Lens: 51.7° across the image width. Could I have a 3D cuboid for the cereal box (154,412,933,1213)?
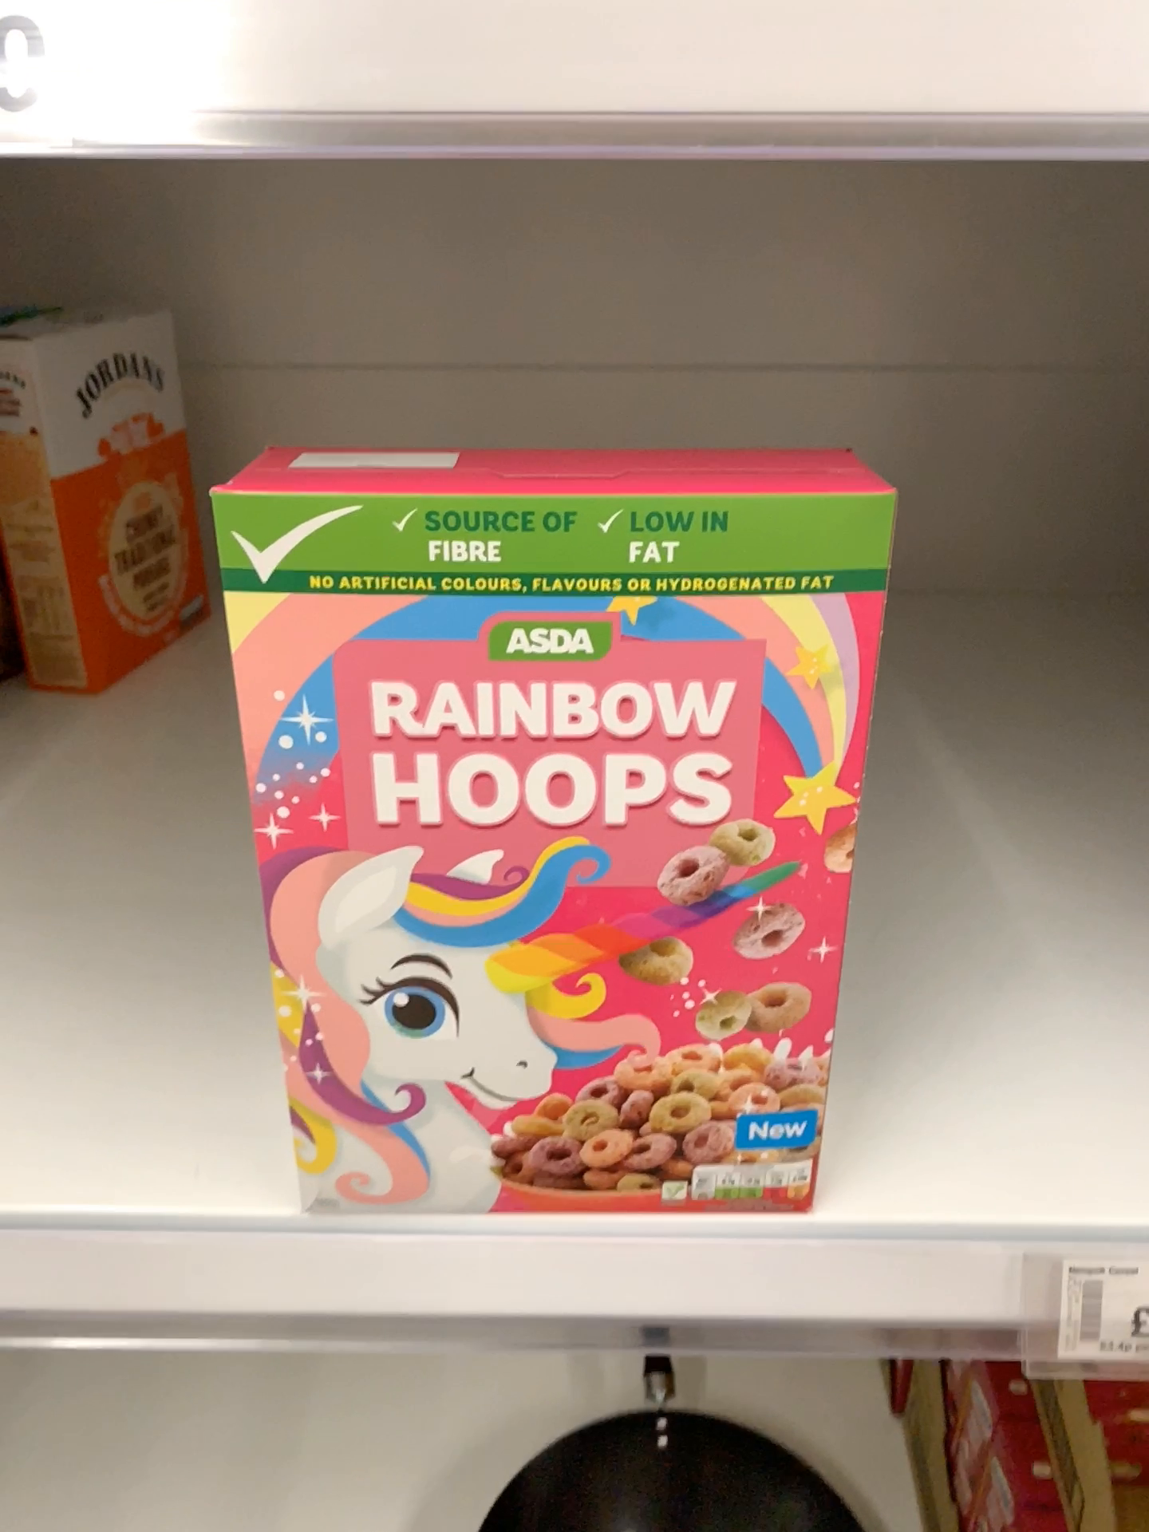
[{"bbox_3d":[-0.009,0.027,0.408,0.210,0.278,0.060,0,26,0],"label":"cereal box"}]
